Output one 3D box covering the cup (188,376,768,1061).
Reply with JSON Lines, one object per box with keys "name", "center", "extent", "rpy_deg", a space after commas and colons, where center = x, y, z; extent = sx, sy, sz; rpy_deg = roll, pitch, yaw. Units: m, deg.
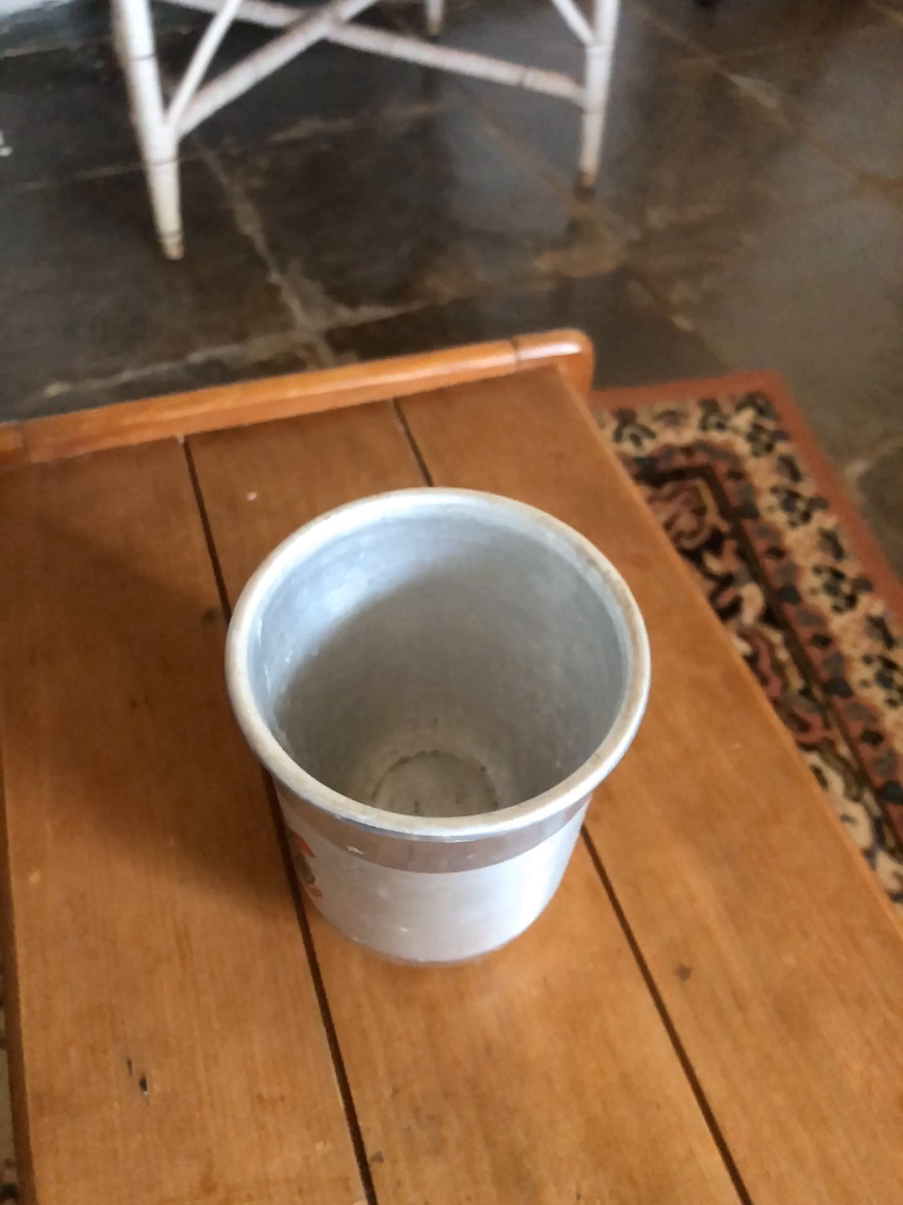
{"name": "cup", "center": [-0.004, 0.034, 0.283], "extent": [0.100, 0.129, 0.121], "rpy_deg": [-12, 54, -13]}
